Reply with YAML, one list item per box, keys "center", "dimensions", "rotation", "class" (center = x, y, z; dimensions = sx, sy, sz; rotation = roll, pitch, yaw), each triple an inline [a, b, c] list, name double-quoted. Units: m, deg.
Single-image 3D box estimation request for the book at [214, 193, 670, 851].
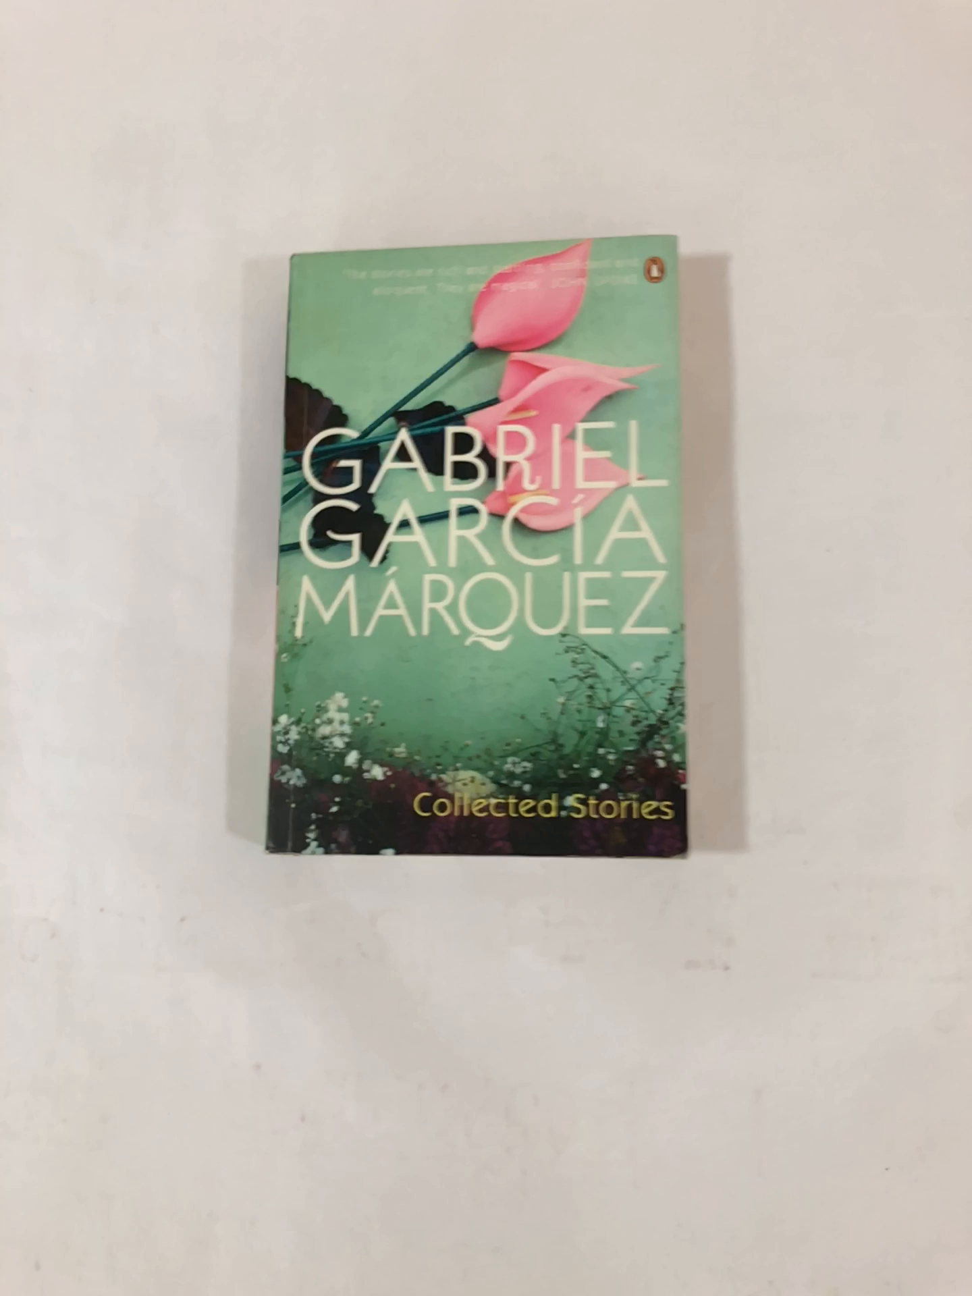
- center: [-0.011, -0.039, 0.340]
  dimensions: [0.130, 0.030, 0.200]
  rotation: [-1, 79, 7]
  class: "book"
